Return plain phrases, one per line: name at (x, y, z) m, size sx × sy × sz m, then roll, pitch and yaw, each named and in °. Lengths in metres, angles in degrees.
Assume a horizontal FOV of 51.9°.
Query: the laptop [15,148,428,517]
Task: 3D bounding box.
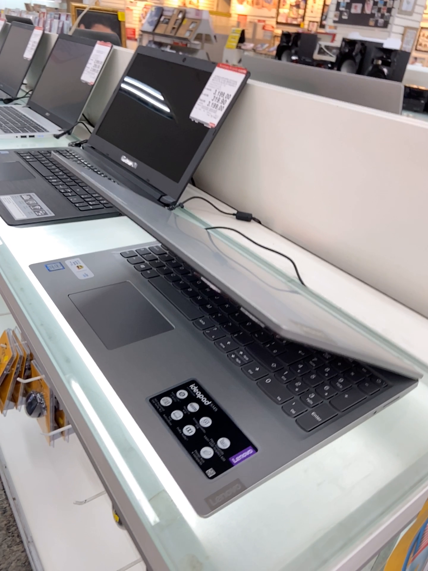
laptop at (-0.009, -0.021, 0.420) m, size 0.239 × 0.122 × 0.355 m, roll -15°, pitch 36°, yaw -33°
